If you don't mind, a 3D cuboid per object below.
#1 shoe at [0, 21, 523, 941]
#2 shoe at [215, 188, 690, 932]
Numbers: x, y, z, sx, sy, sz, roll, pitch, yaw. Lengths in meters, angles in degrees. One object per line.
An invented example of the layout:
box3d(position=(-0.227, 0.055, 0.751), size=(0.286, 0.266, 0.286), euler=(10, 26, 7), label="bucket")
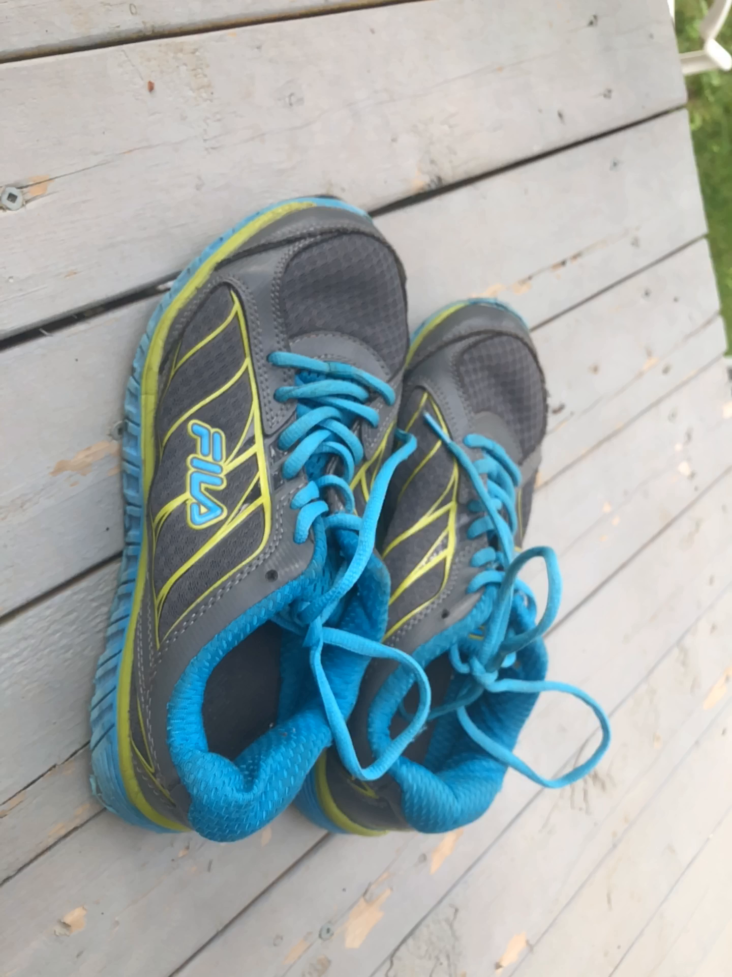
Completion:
box3d(position=(-0.050, -0.001, 0.333), size=(0.110, 0.130, 0.290), euler=(18, 82, -35), label="shoe")
box3d(position=(0.044, 0.031, 0.364), size=(0.110, 0.090, 0.280), euler=(23, 79, -34), label="shoe")
